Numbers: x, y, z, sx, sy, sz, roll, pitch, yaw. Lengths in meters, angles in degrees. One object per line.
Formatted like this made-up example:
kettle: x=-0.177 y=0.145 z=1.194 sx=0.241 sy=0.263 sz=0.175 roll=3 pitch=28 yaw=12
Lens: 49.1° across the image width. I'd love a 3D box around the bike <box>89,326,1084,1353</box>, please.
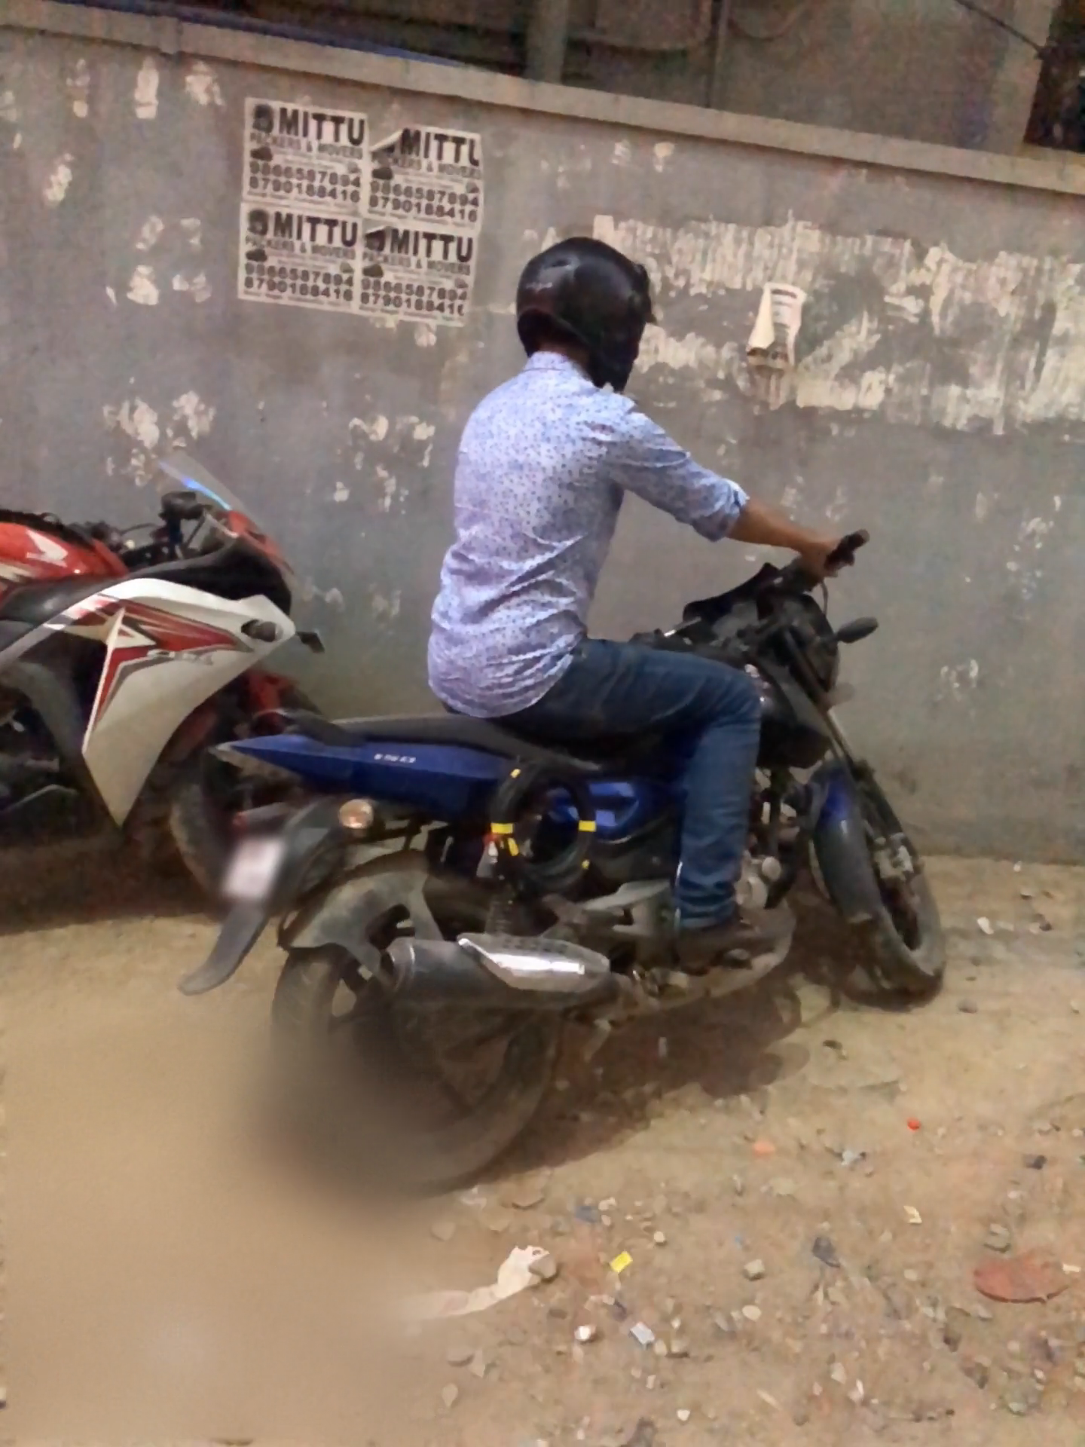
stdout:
bike: x=0.166 y=-0.012 z=2.330 sx=1.507 sy=1.114 sz=1.093 roll=-21 pitch=33 yaw=-39
